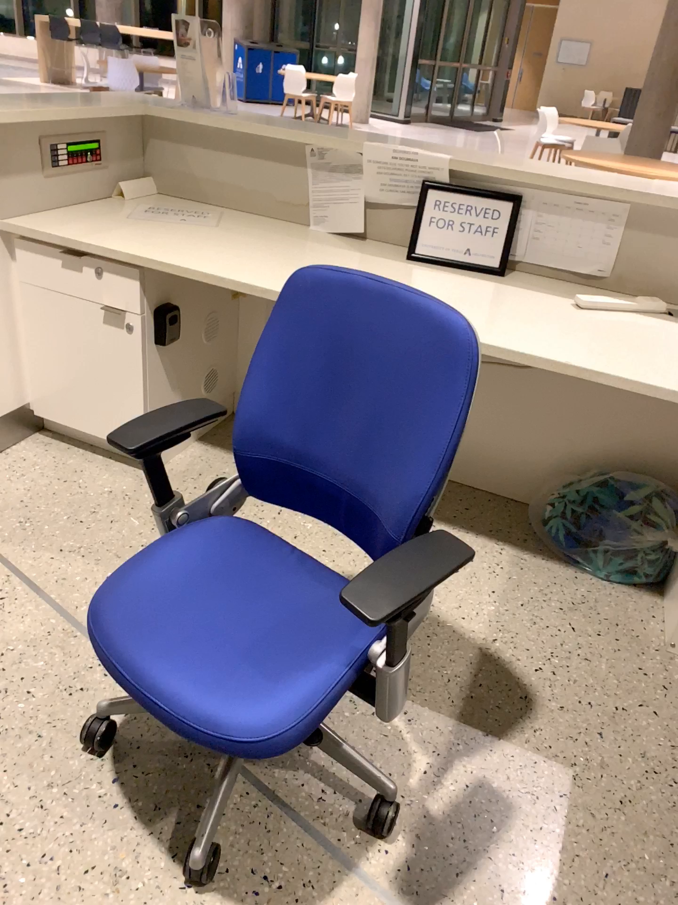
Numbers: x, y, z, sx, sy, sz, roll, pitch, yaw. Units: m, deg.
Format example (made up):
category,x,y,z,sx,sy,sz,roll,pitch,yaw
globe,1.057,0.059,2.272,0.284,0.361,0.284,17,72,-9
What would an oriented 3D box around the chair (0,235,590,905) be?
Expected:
category,x,y,z,sx,sy,sz,roll,pitch,yaw
chair,-0.134,0.194,1.230,0.699,0.906,0.607,28,36,31
